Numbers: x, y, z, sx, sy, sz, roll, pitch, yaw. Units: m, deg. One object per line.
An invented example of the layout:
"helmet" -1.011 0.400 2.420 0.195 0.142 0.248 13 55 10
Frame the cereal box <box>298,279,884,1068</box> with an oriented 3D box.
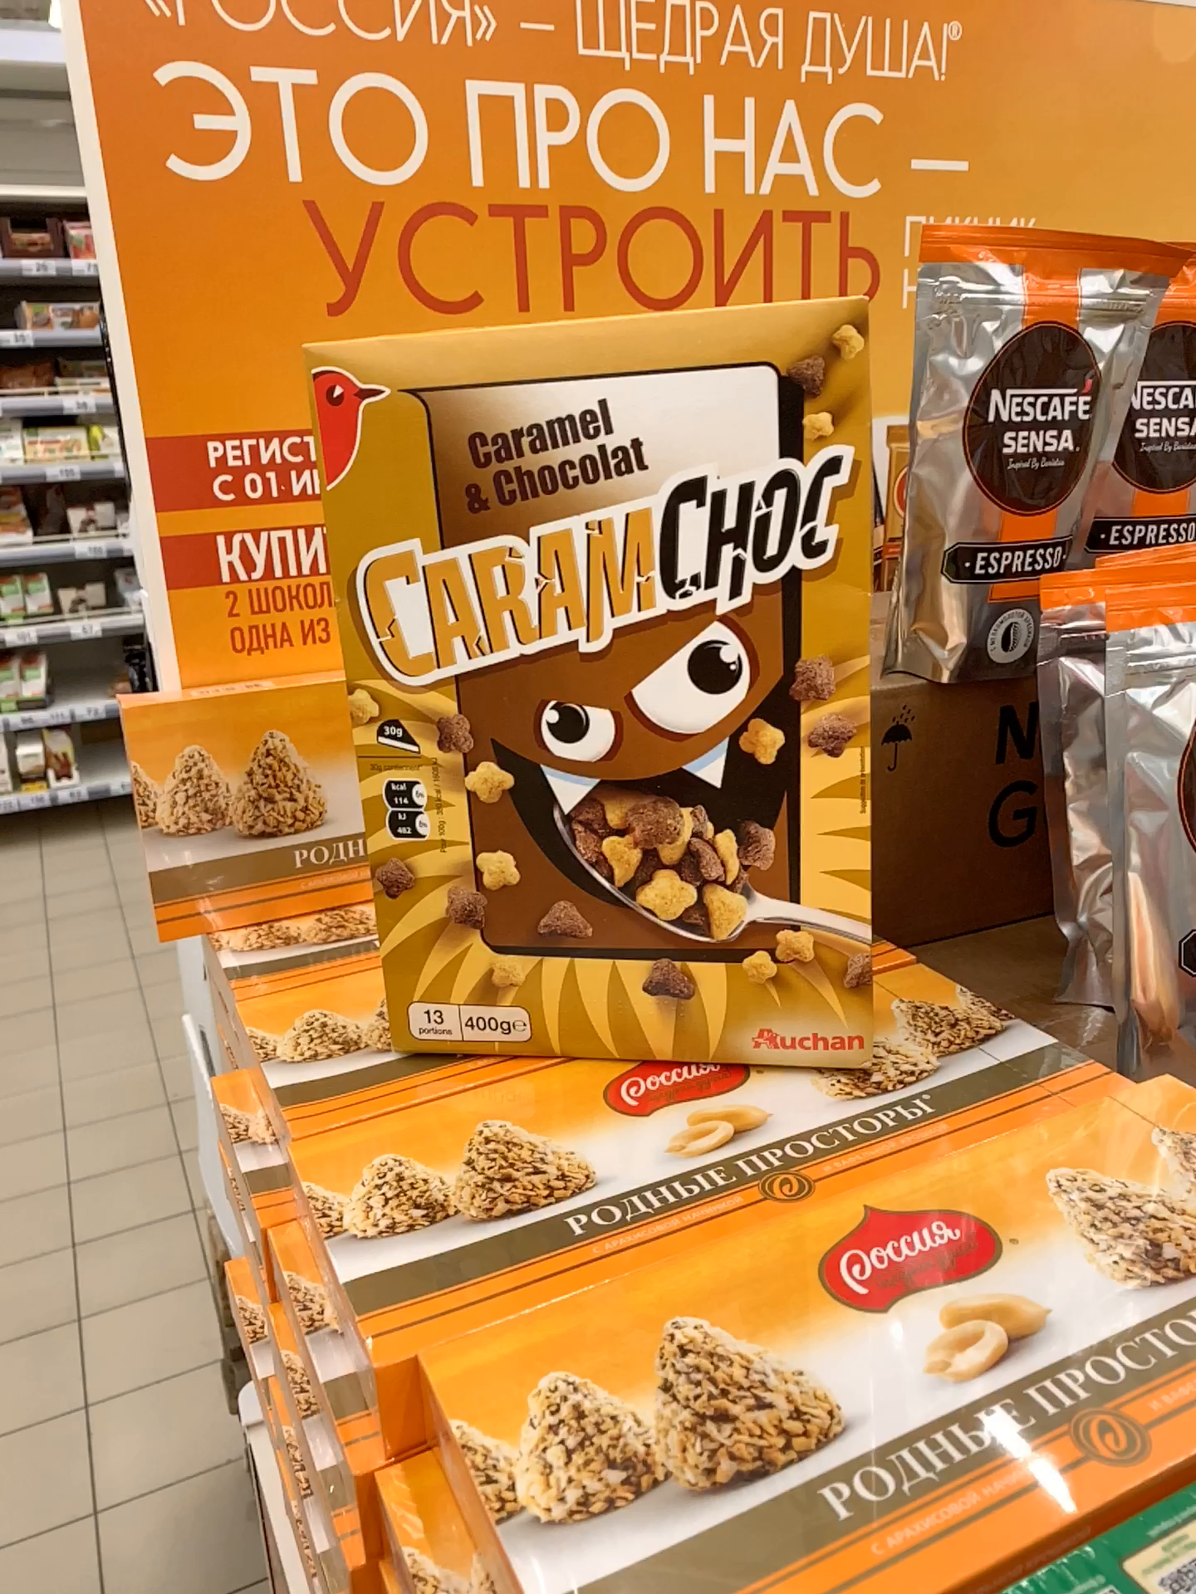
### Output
"cereal box" 0.007 -0.039 0.478 0.200 0.279 0.060 0 16 12
